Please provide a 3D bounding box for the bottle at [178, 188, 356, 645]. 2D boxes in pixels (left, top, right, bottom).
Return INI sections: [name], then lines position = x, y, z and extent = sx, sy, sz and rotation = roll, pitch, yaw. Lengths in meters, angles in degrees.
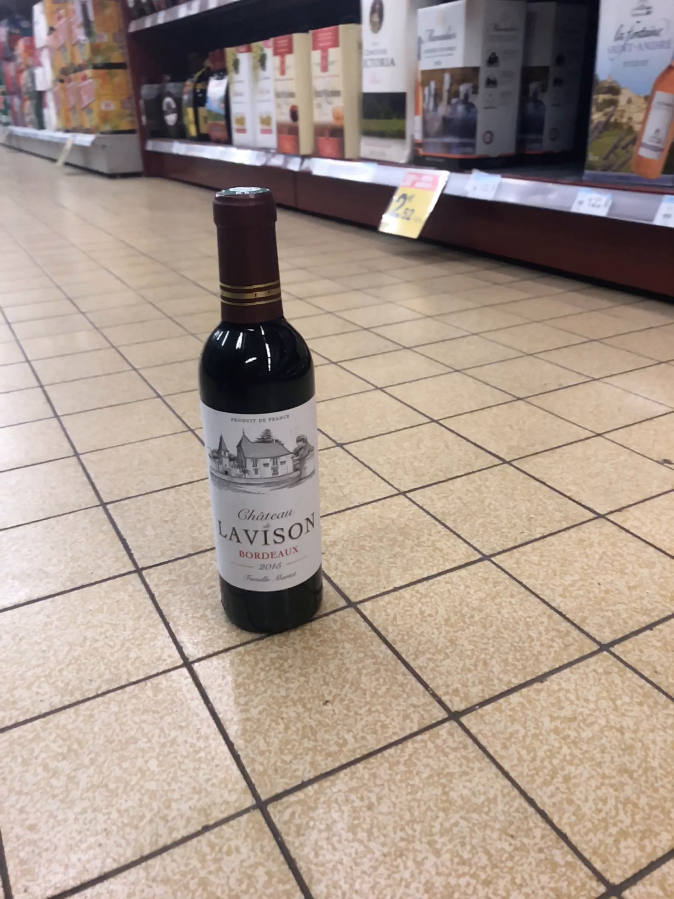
[bottle]
position = -0.033, -0.013, 0.378
extent = 0.070, 0.219, 0.060
rotation = -6, 24, -10
